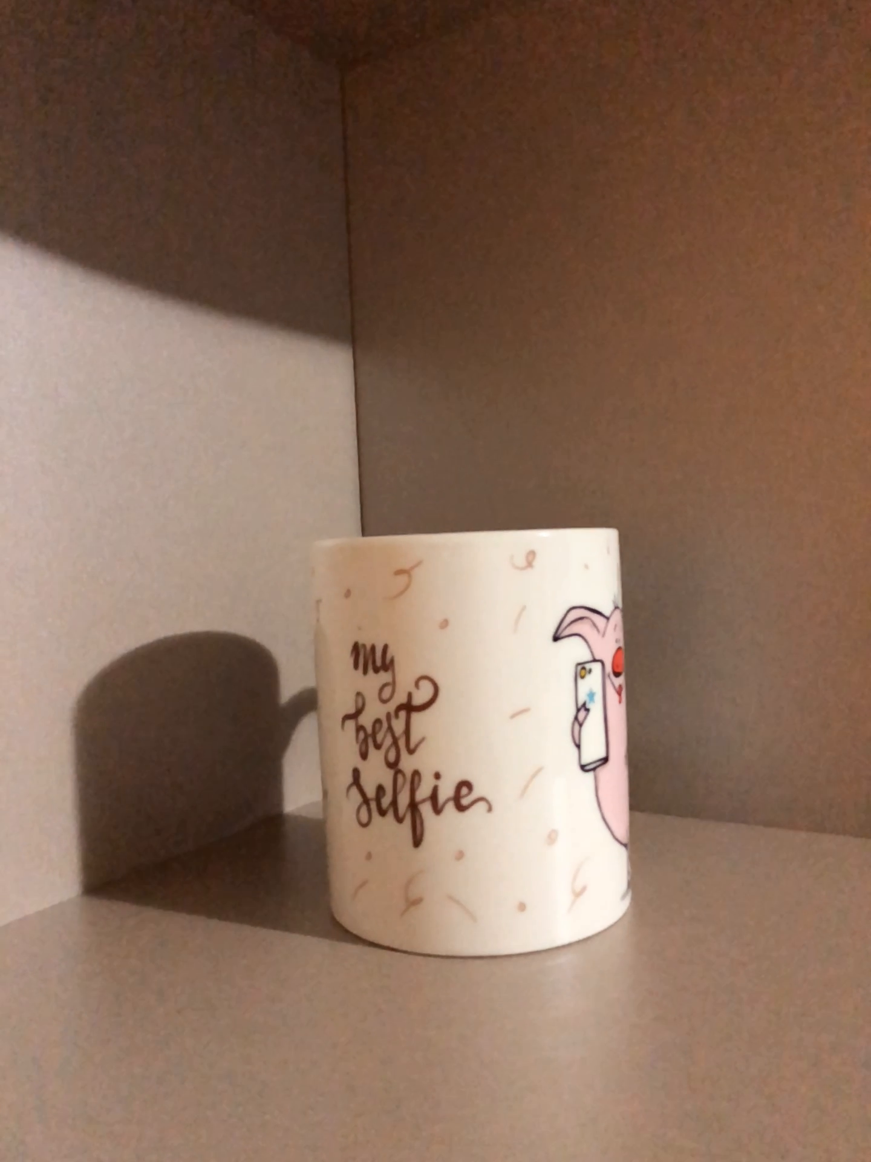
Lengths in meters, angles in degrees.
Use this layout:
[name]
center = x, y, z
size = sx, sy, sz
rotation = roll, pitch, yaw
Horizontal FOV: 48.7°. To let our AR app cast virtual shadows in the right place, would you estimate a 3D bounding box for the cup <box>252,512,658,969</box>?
[cup]
center = 0.015, 0.033, 0.269
size = 0.086, 0.096, 0.118
rotation = -2, 2, 12
